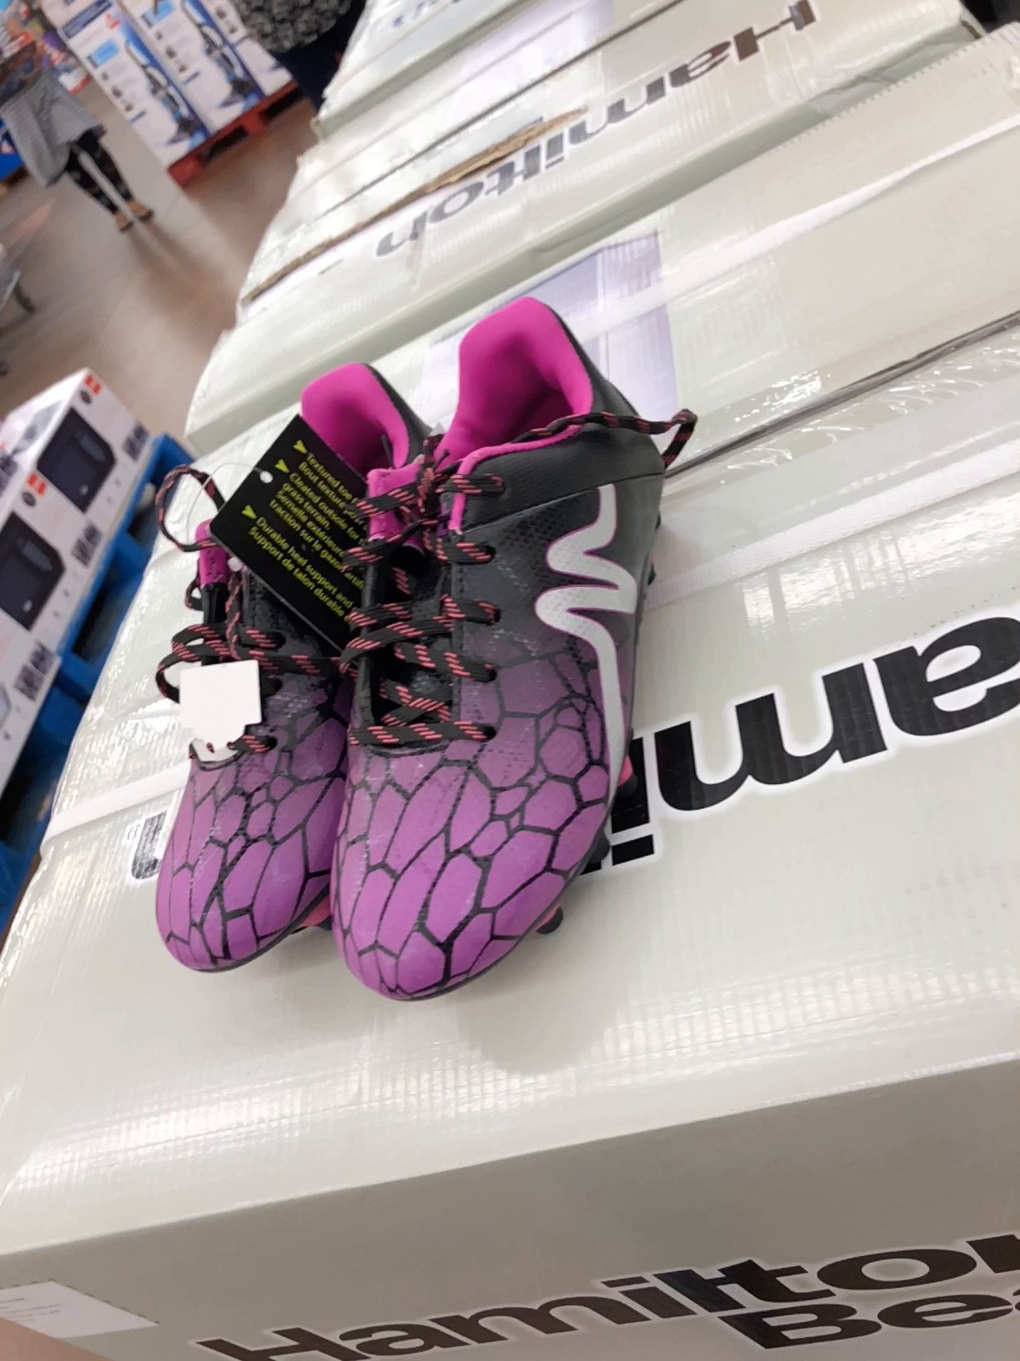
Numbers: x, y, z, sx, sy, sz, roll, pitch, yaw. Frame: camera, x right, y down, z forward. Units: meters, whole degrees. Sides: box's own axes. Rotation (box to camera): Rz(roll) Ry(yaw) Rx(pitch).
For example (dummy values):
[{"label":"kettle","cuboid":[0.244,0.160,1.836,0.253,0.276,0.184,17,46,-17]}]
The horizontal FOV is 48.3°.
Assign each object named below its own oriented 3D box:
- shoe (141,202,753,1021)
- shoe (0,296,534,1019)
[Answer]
[{"label":"shoe","cuboid":[-0.001,-0.025,0.313,0.080,0.080,0.210,-9,47,34]},{"label":"shoe","cuboid":[-0.074,-0.013,0.357,0.080,0.080,0.210,-8,47,35]}]
